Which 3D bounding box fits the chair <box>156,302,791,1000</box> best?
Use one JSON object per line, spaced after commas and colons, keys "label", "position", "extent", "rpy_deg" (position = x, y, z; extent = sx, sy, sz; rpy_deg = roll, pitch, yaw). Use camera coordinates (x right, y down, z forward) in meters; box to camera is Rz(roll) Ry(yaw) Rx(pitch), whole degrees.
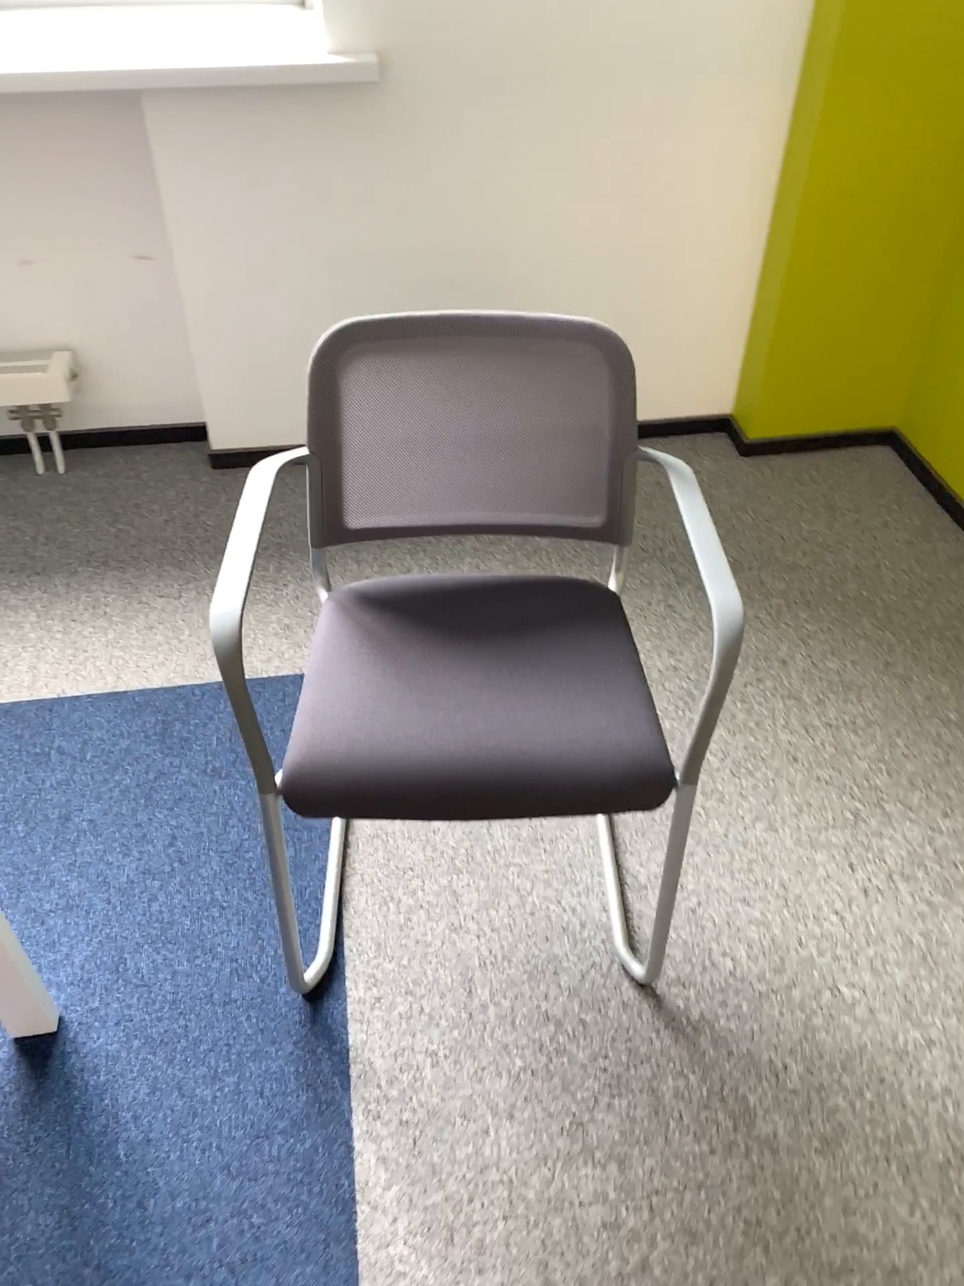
{"label": "chair", "position": [-0.011, 0.027, 1.256], "extent": [0.530, 0.726, 0.523], "rpy_deg": [0, 41, -1]}
